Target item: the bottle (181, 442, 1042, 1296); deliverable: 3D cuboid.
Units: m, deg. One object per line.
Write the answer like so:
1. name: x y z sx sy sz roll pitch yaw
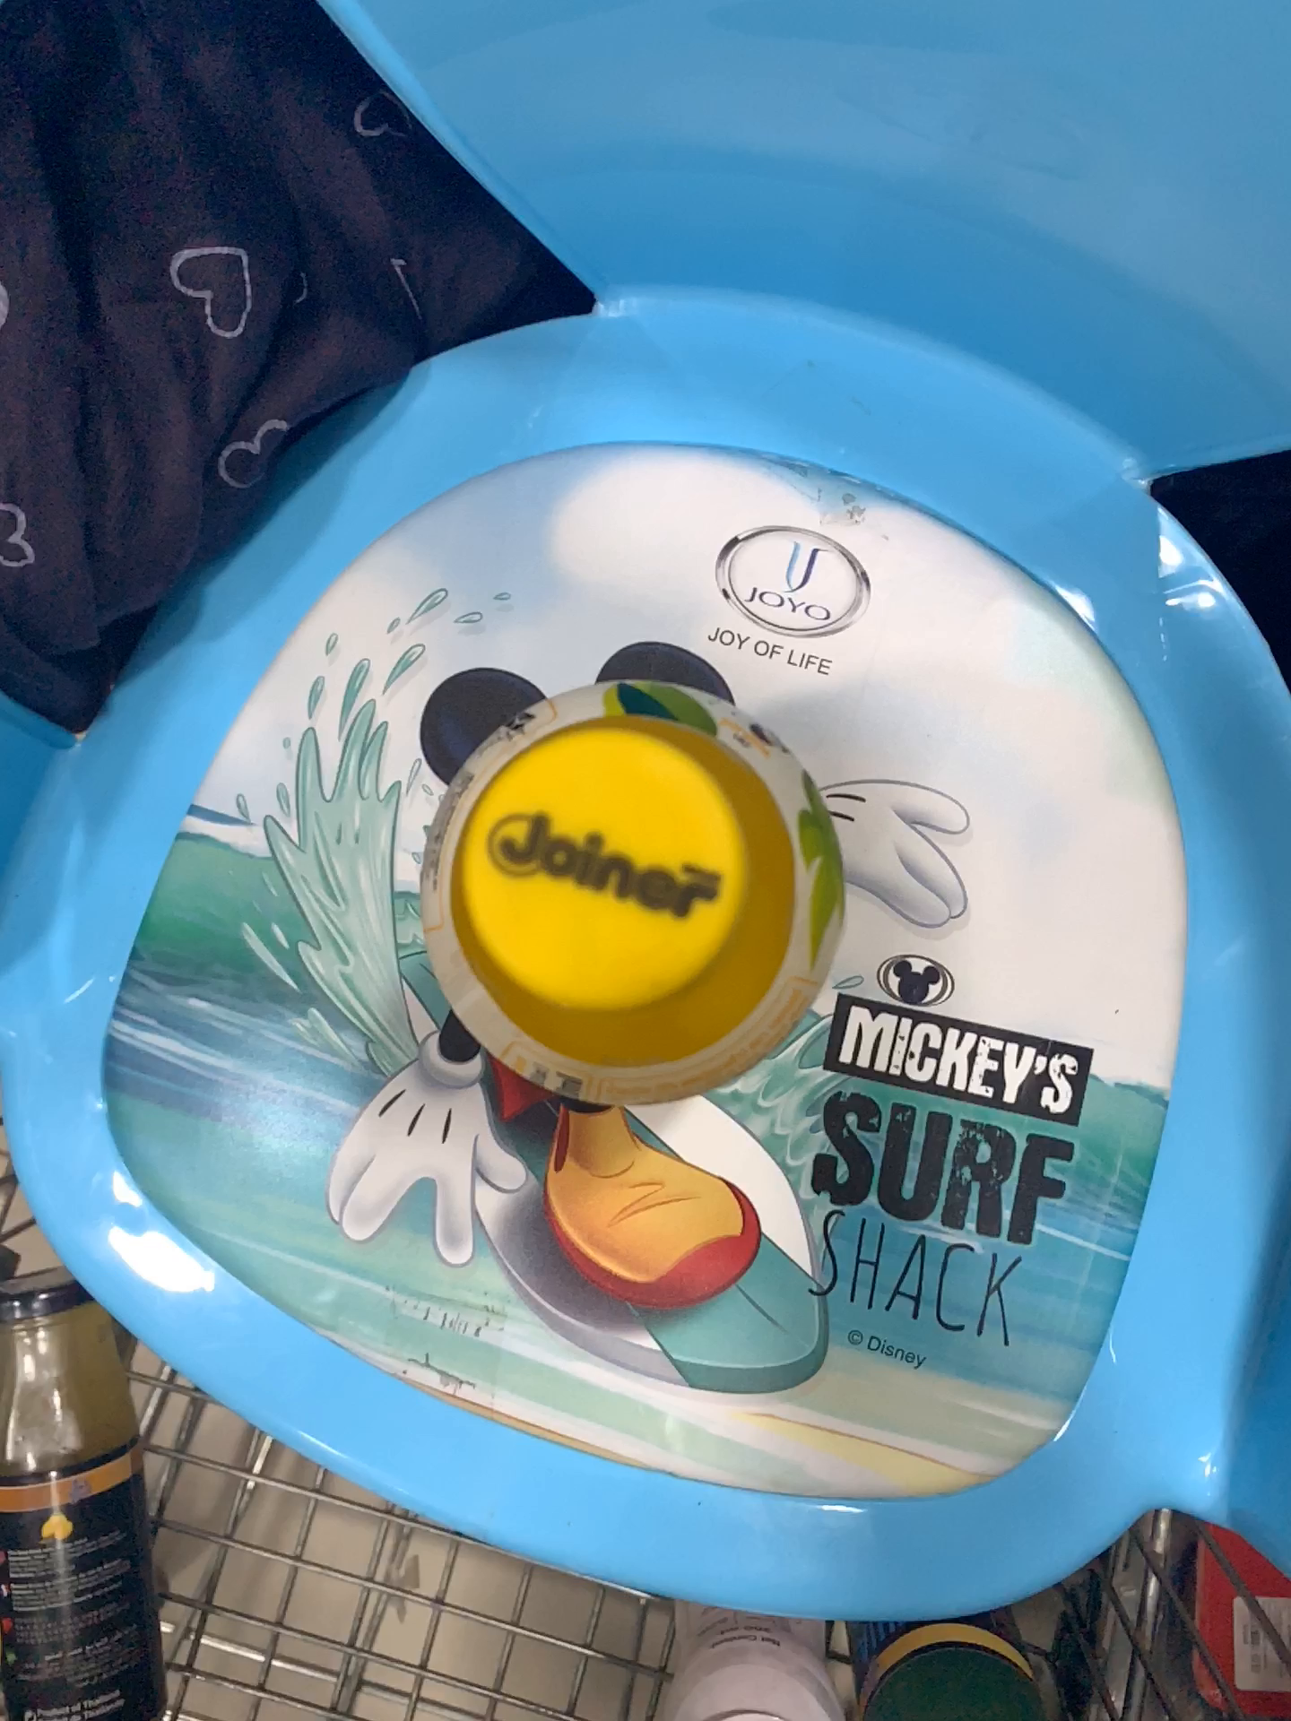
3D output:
1. bottle: -0.001 0.010 0.199 0.060 0.140 0.060 0 81 2
